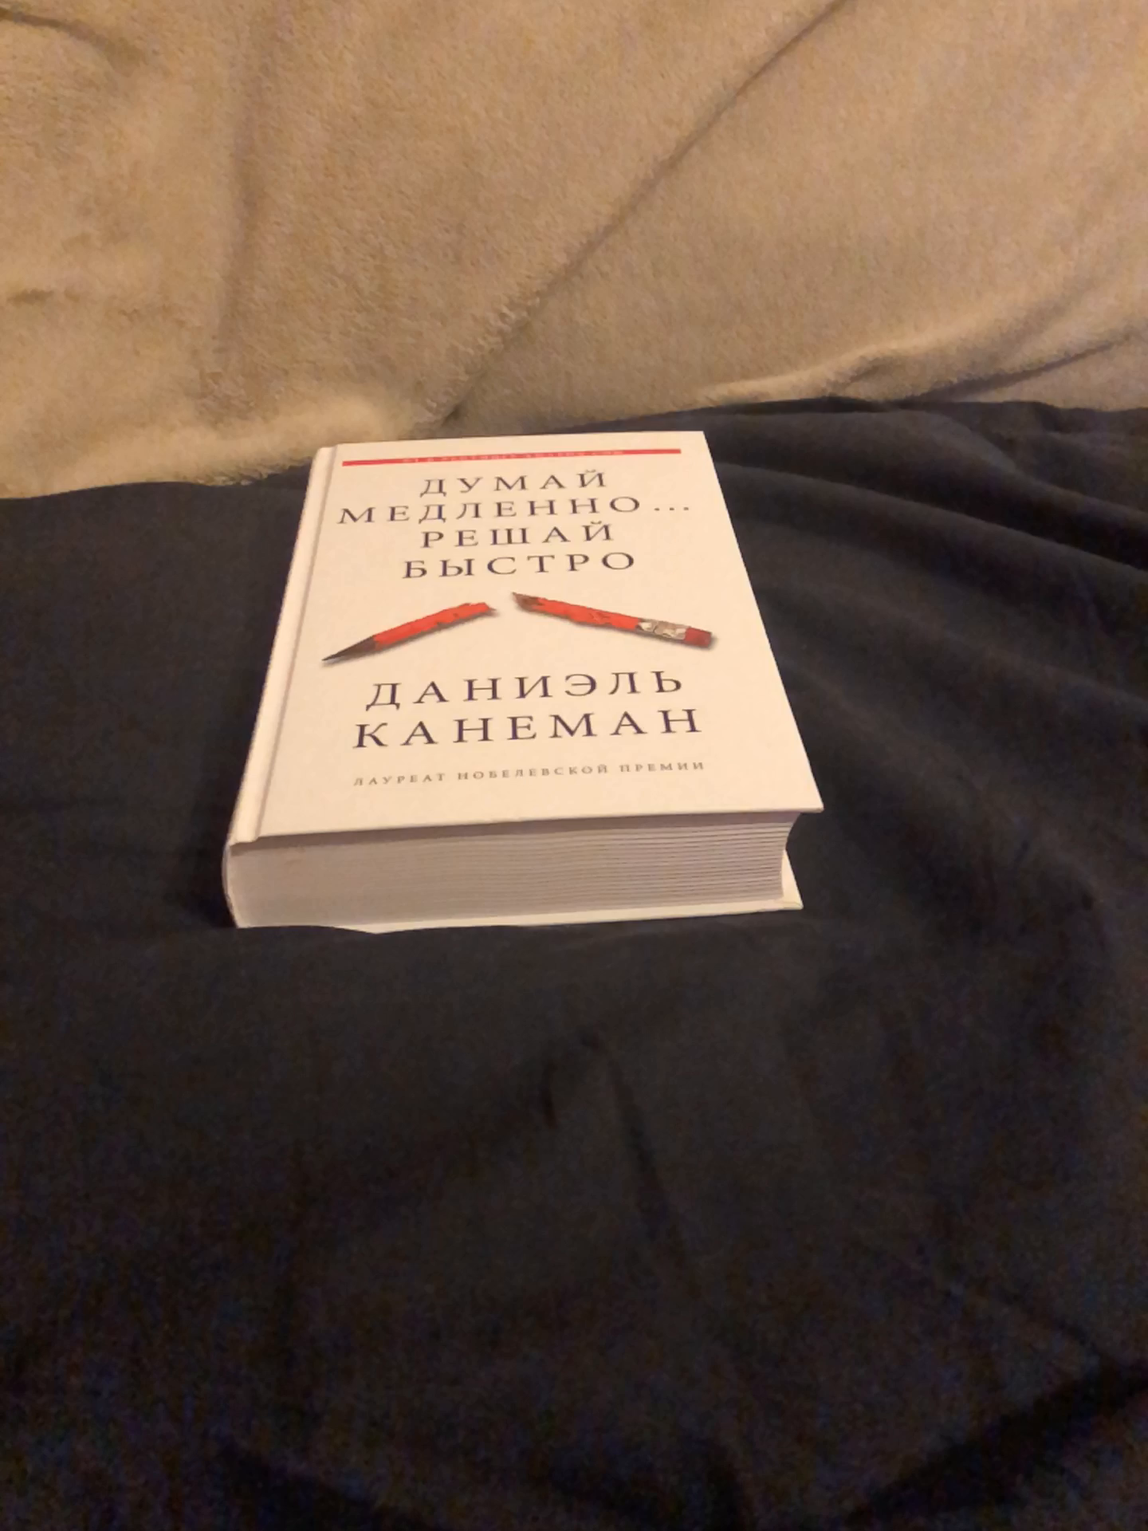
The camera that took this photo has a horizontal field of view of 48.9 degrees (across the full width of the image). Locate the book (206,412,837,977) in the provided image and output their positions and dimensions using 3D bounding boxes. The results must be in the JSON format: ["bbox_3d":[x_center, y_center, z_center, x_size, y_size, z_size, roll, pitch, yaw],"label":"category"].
[{"bbox_3d":[-0.017,-0.038,0.398,0.149,0.050,0.221,-3,40,-2],"label":"book"}]
